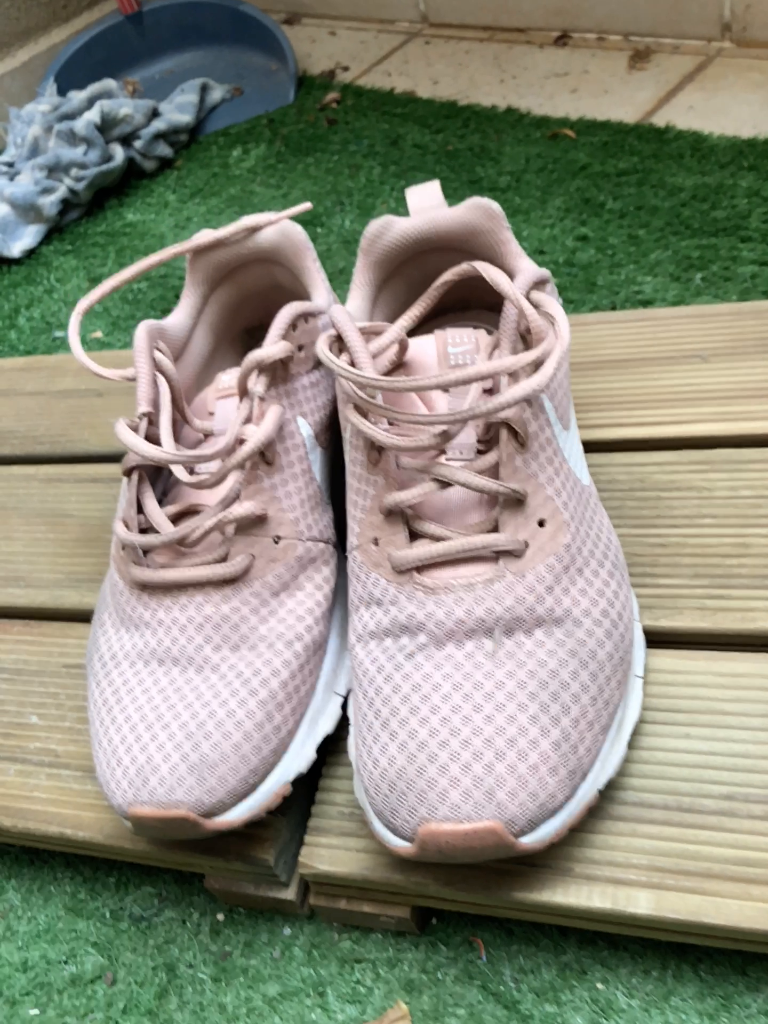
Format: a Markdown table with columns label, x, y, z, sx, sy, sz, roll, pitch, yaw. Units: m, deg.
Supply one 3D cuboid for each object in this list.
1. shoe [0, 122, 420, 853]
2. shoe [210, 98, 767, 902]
| label | x | y | z | sx | sy | sz | roll | pitch | yaw |
| --- | --- | --- | --- | --- | --- | --- | --- | --- | --- |
| shoe | -0.059 | -0.025 | 0.310 | 0.110 | 0.089 | 0.261 | -6 | 48 | 15 |
| shoe | 0.036 | -0.023 | 0.285 | 0.110 | 0.089 | 0.261 | -8 | 48 | 14 |
